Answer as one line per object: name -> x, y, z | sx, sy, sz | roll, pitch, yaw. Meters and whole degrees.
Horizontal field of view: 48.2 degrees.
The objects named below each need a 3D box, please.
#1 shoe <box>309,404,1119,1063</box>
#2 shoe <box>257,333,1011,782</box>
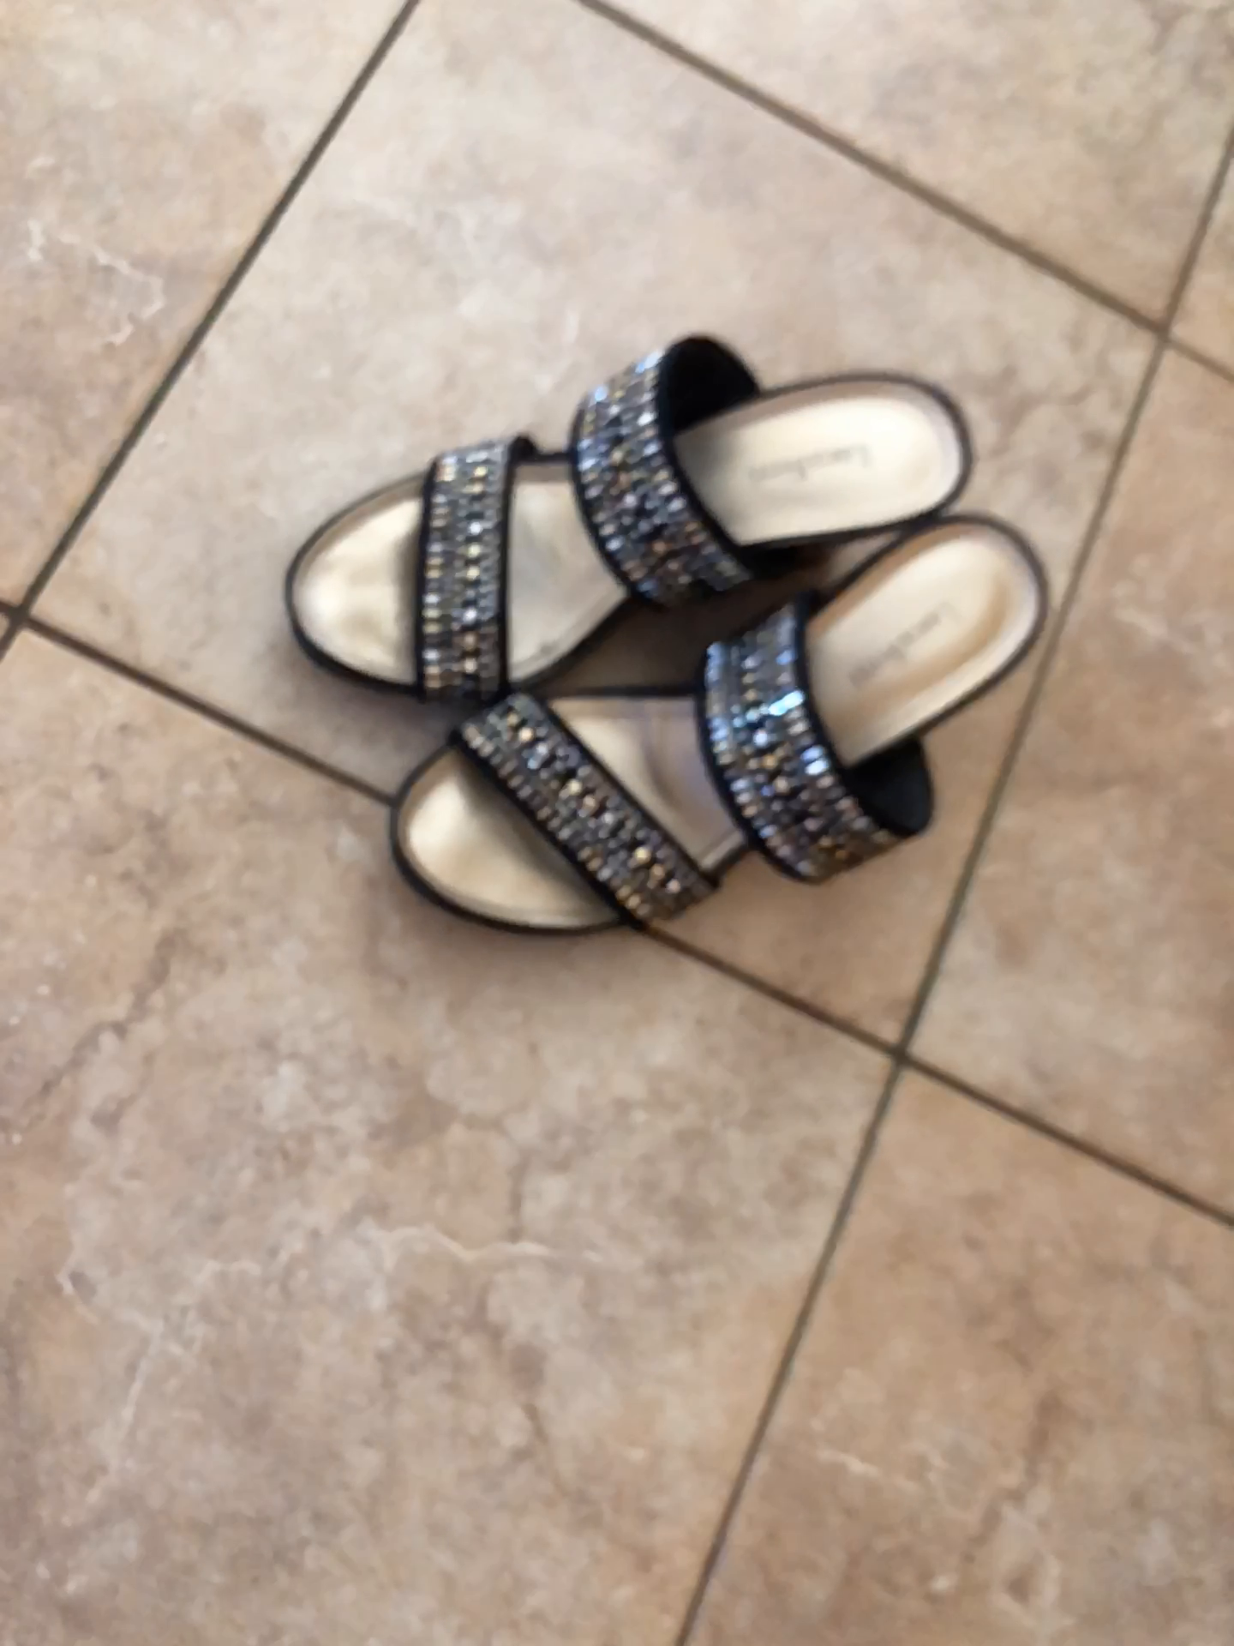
shoe -> 0.026, -0.027, 0.450 | 0.220, 0.100, 0.110 | -27, 84, -18
shoe -> 0.000, -0.088, 0.465 | 0.220, 0.100, 0.090 | -11, 79, -16
